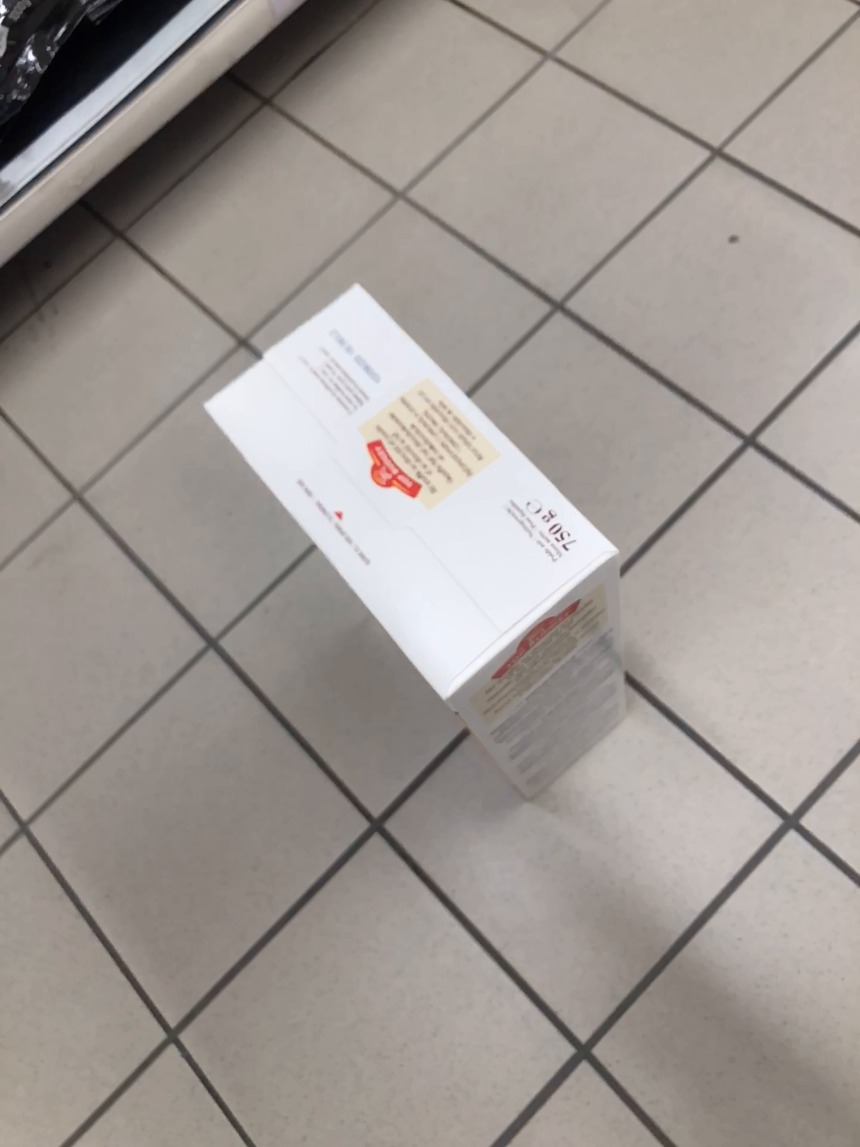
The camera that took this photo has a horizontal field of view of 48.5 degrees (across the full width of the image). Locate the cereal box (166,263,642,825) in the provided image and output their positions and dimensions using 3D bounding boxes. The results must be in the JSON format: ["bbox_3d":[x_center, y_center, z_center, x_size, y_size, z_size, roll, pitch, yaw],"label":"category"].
[{"bbox_3d":[0.012,0.012,0.565,0.110,0.319,0.210,-39,67,-4],"label":"cereal box"}]
